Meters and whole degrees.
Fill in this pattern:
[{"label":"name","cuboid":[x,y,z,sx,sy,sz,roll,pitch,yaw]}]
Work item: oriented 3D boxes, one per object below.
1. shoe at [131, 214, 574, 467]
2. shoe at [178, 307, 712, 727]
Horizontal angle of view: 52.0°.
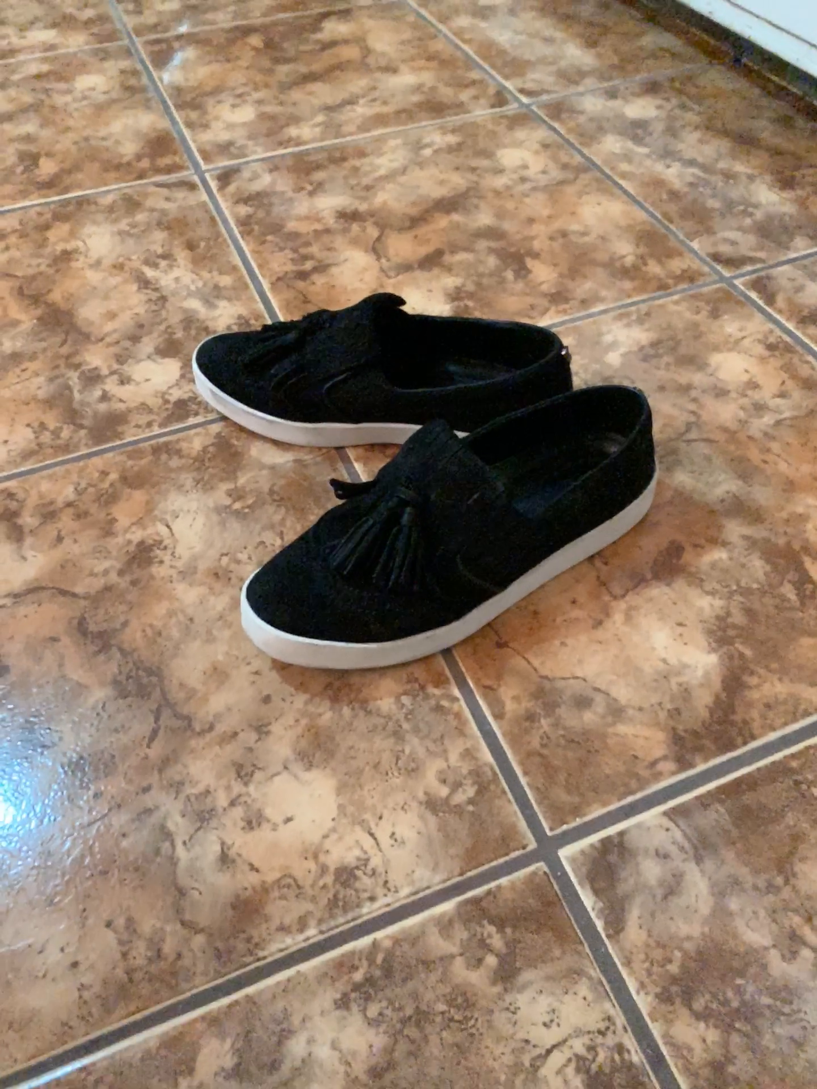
[{"label":"shoe","cuboid":[-0.029,-0.132,0.537,0.249,0.094,0.098,8,50,6]},{"label":"shoe","cuboid":[0.023,-0.023,0.446,0.250,0.094,0.098,-26,55,-20]}]
